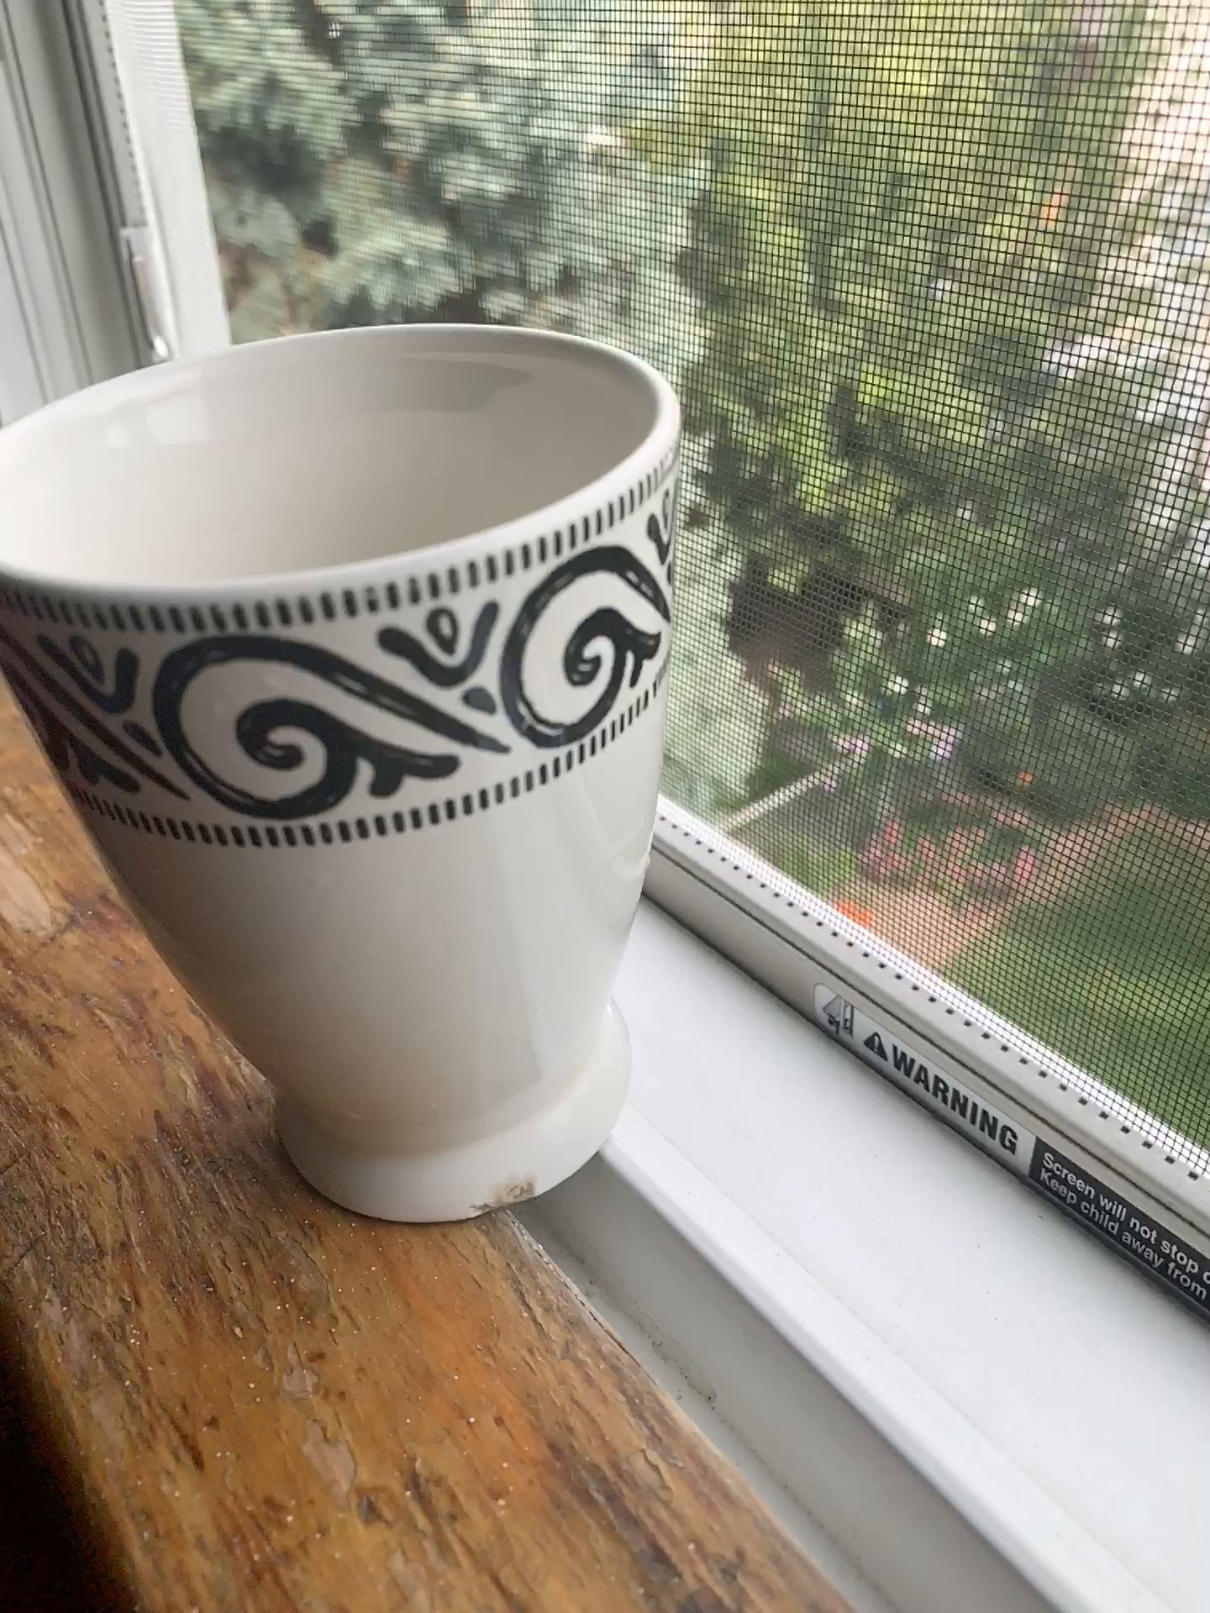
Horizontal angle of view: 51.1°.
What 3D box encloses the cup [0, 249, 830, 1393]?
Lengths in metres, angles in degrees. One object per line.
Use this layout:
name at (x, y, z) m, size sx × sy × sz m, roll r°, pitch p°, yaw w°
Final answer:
cup at (-0.049, -0.013, 0.170) m, size 0.130 × 0.089 × 0.081 m, roll 21°, pitch 42°, yaw 30°
